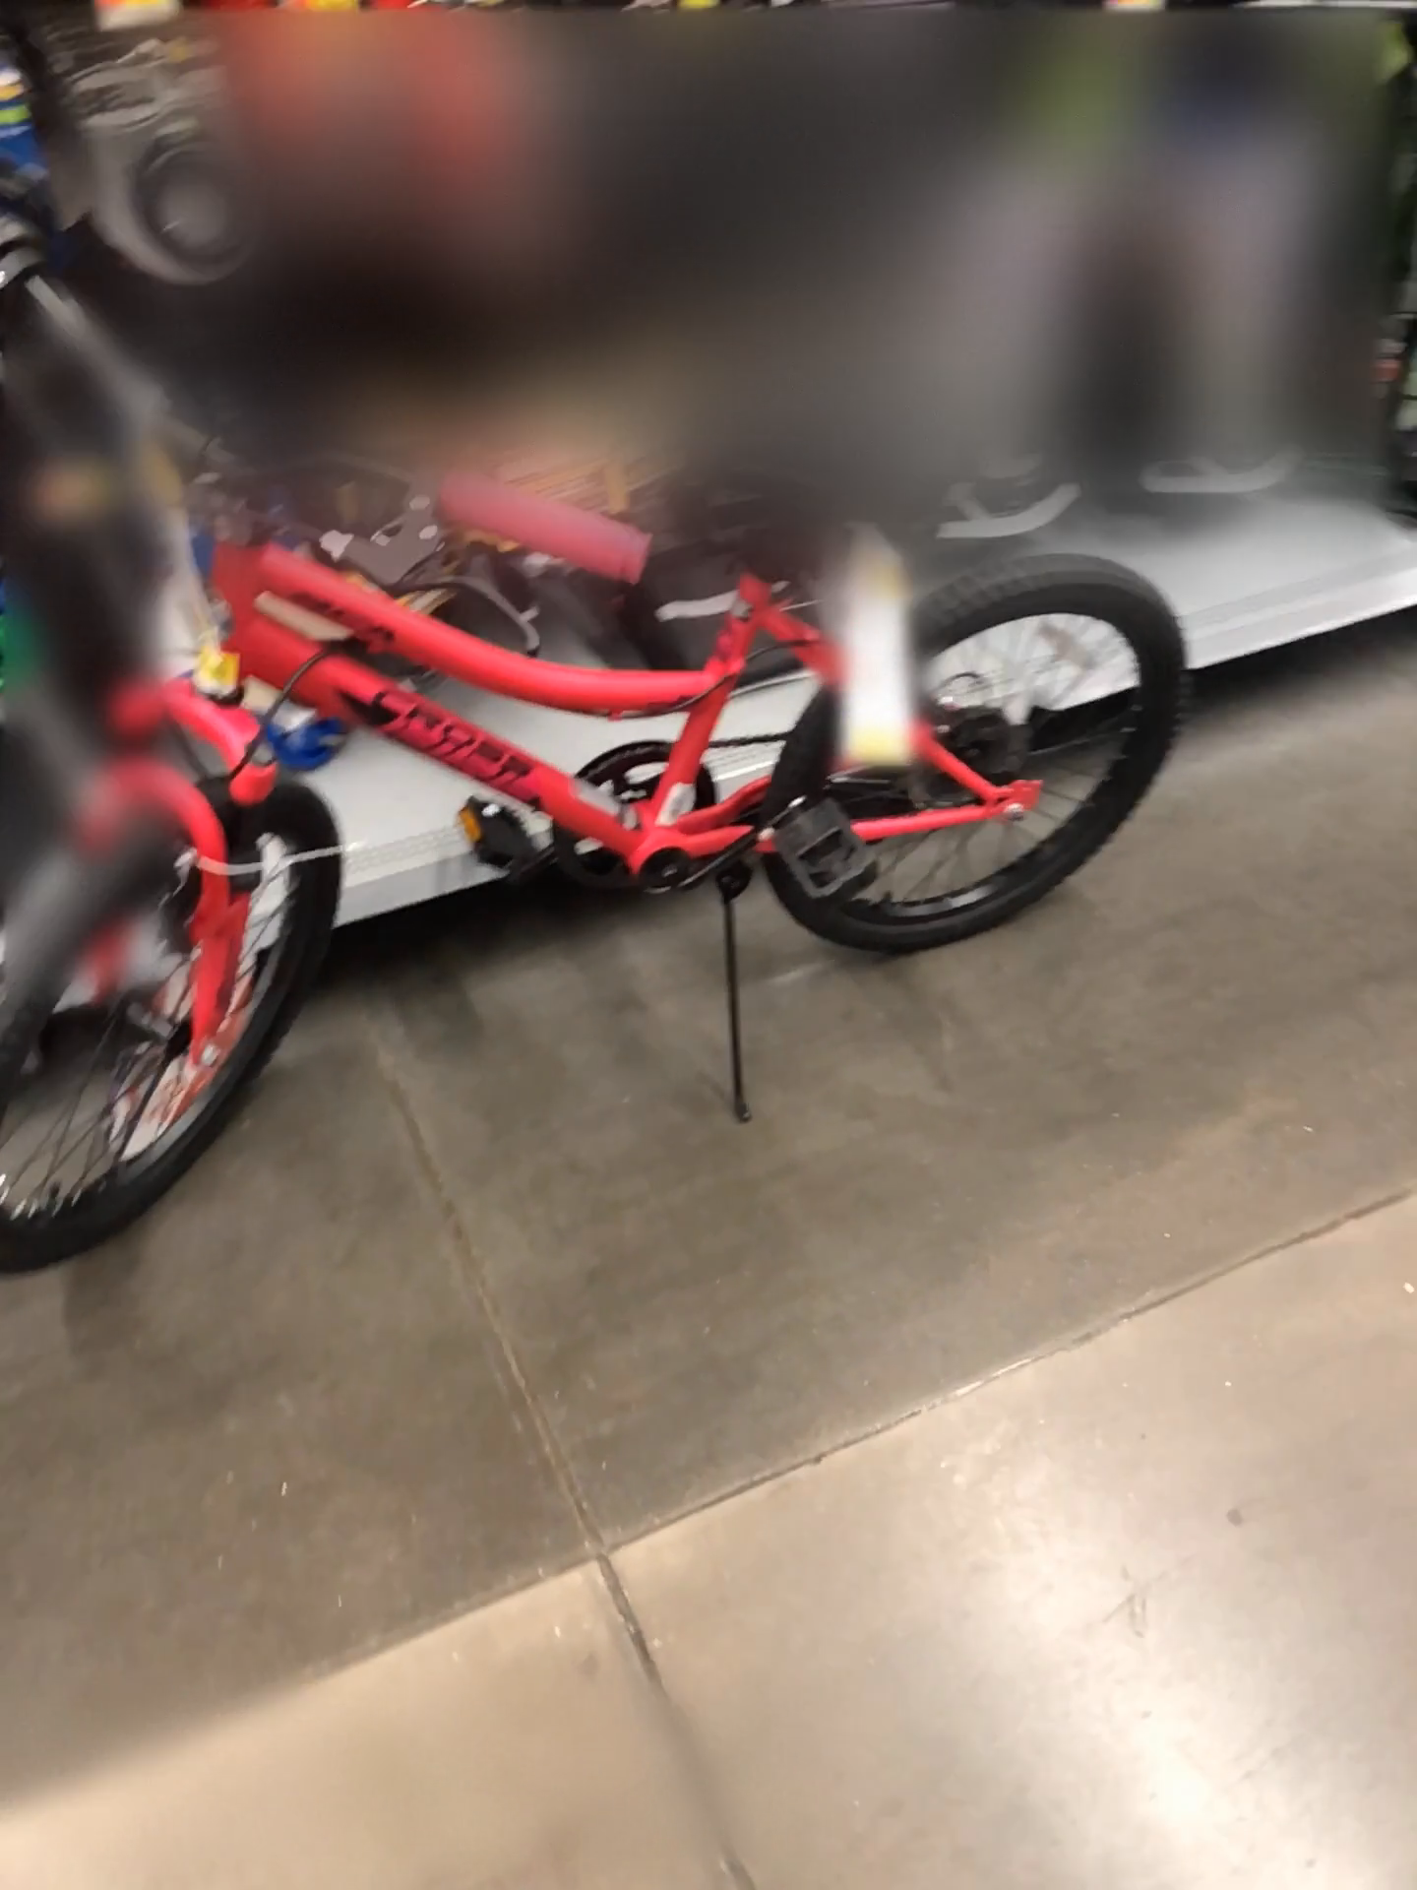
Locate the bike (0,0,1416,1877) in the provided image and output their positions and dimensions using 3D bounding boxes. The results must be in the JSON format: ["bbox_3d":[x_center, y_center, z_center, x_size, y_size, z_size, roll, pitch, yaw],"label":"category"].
[{"bbox_3d":[-0.018,-0.112,1.186,1.225,0.877,0.610,-22,45,-20],"label":"bike"}]
